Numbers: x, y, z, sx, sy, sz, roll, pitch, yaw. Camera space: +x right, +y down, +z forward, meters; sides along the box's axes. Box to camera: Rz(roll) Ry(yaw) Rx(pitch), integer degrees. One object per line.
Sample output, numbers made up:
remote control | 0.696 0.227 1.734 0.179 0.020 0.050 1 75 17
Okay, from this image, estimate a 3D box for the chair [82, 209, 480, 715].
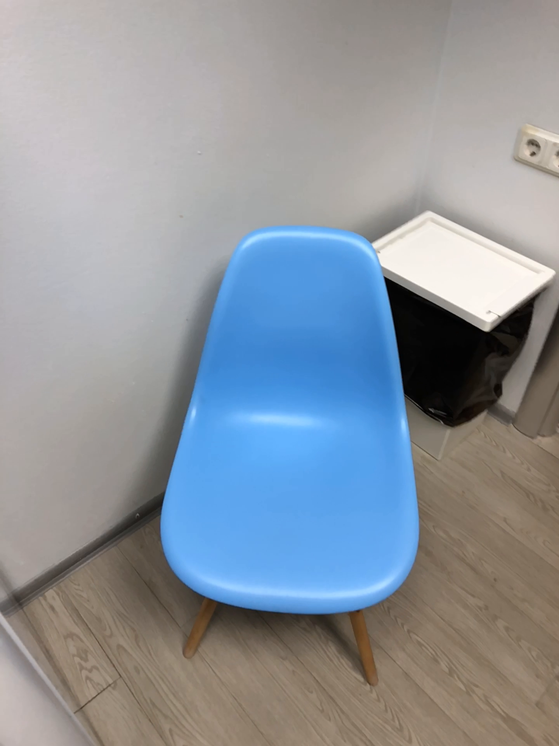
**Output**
chair | 0.037 0.192 1.153 0.460 0.775 0.533 7 45 7
